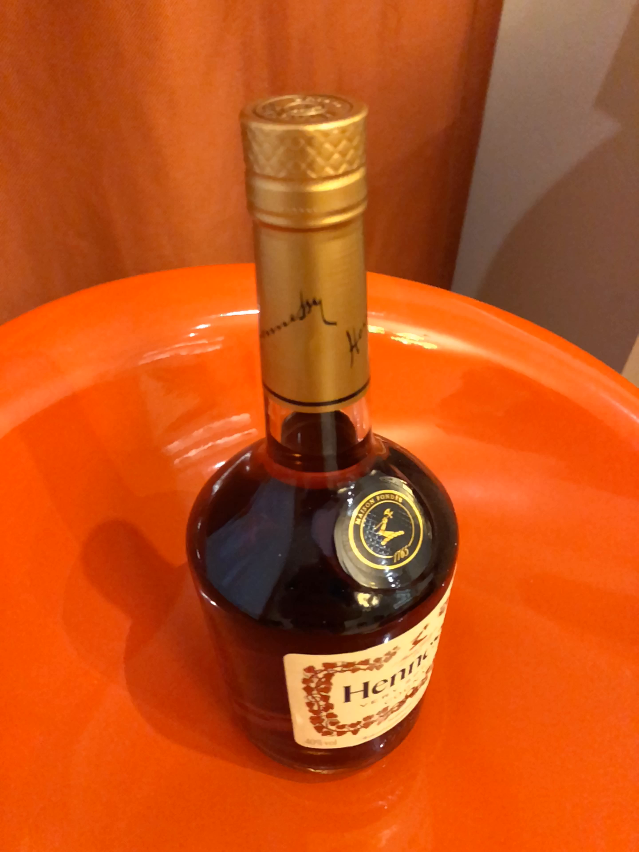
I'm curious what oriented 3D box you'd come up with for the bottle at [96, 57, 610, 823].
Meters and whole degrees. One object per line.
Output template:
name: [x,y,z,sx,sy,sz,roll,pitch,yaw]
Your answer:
bottle: [0.004,0.018,0.221,0.079,0.218,0.080,0,39,0]
